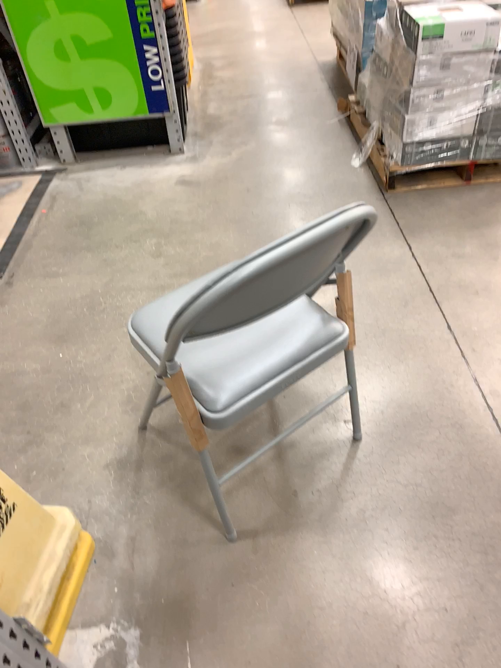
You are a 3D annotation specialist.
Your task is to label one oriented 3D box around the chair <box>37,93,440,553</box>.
[{"bbox_3d":[-0.011,-0.027,1.096,0.488,0.708,0.486,-31,48,-24],"label":"chair"}]
